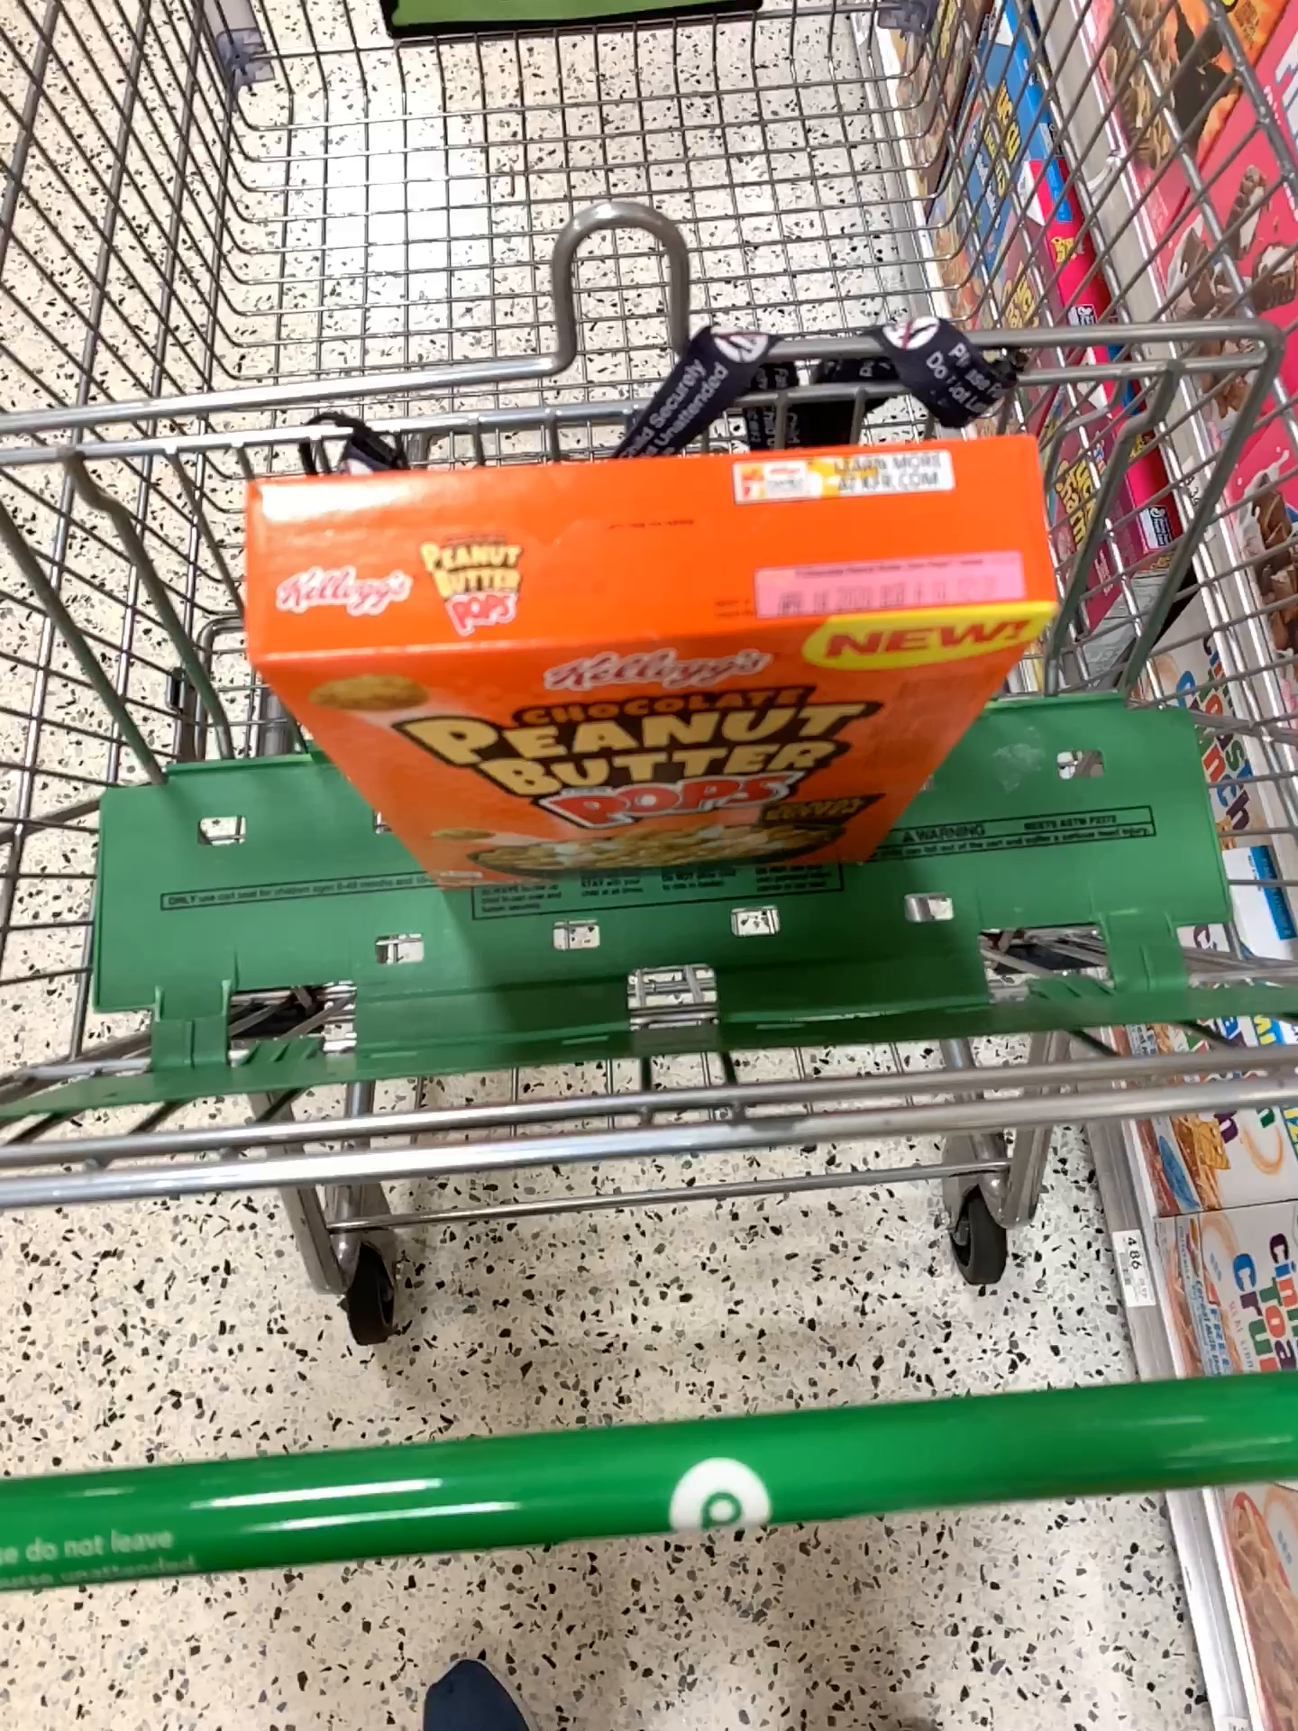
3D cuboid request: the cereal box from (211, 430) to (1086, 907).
[{"bbox_3d":[-0.002,-0.043,0.448,0.200,0.289,0.050,-4,78,-1],"label":"cereal box"}]
